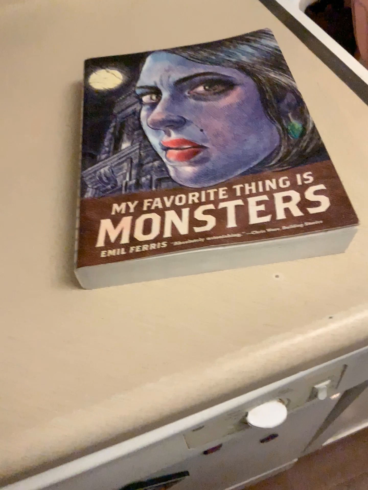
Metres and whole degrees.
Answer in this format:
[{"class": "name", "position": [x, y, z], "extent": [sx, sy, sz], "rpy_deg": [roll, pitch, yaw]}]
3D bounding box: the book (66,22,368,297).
[{"class": "book", "position": [0.007, -0.097, 0.363], "extent": [0.200, 0.040, 0.270], "rpy_deg": [-9, 54, -1]}]
